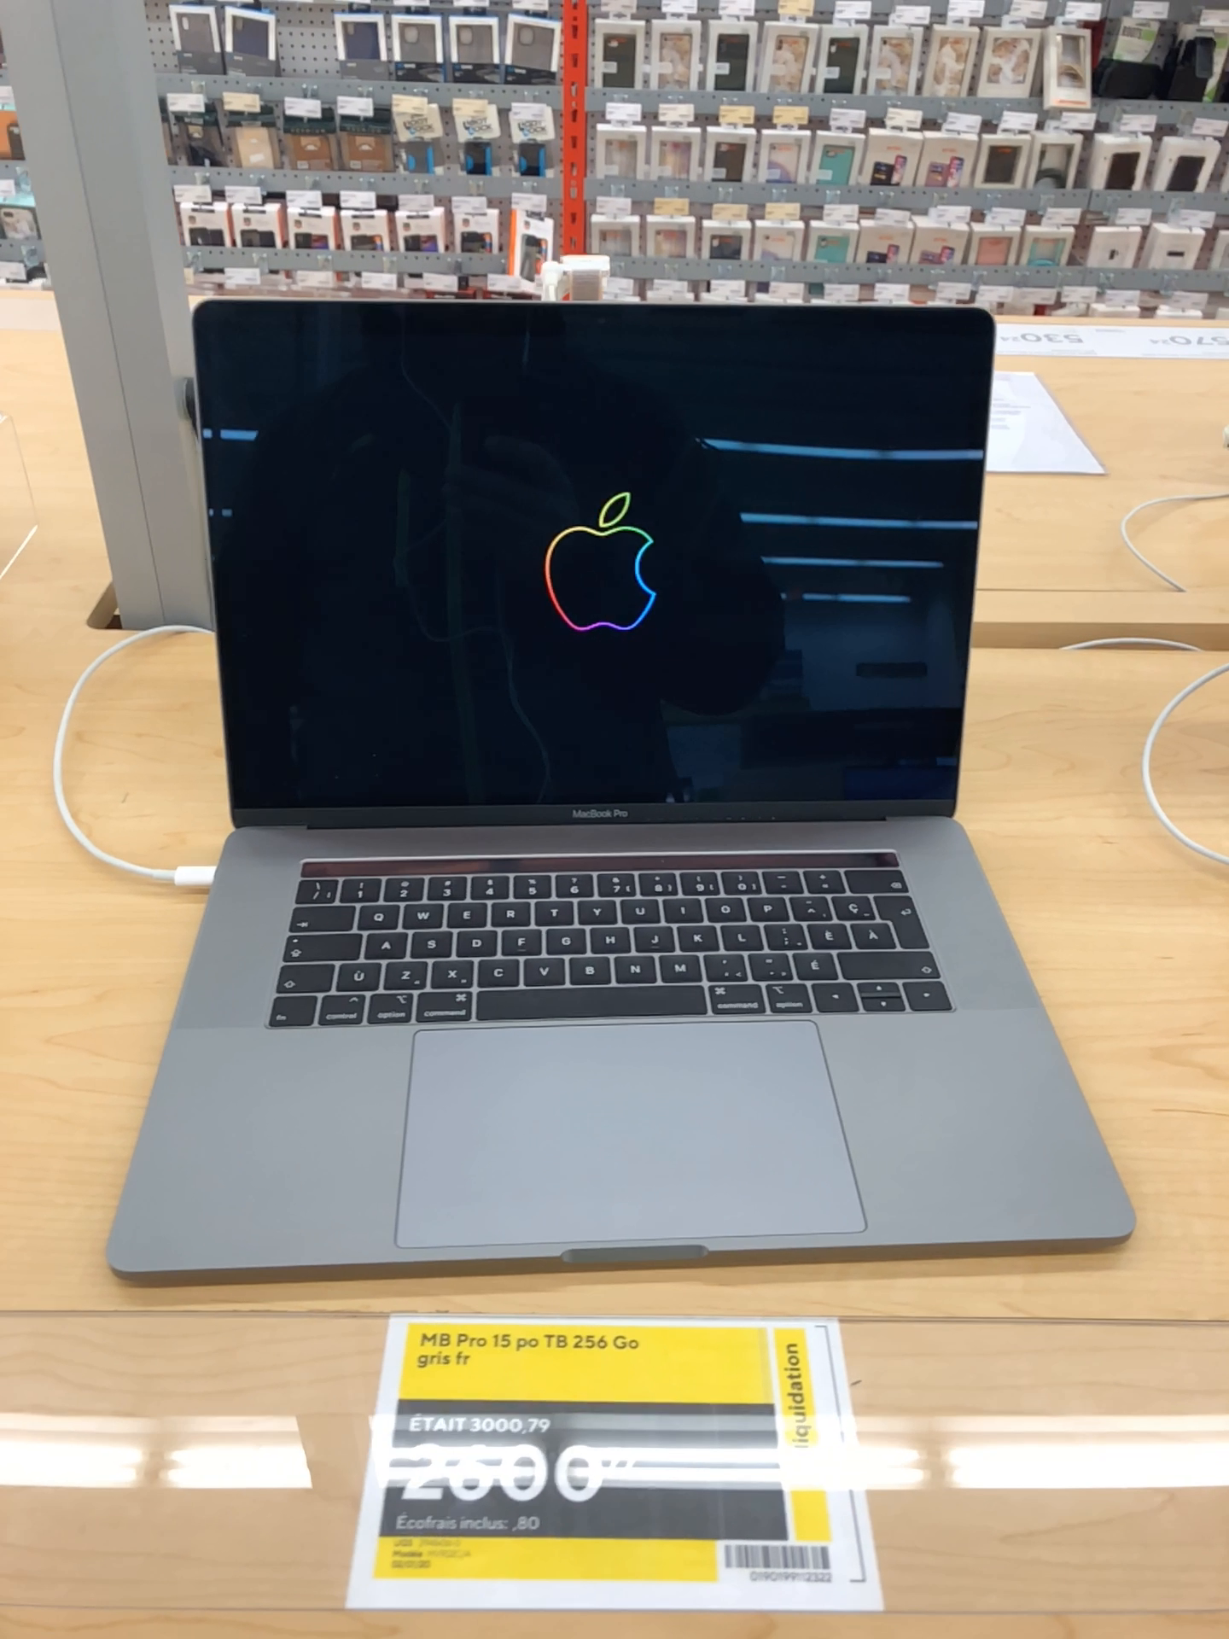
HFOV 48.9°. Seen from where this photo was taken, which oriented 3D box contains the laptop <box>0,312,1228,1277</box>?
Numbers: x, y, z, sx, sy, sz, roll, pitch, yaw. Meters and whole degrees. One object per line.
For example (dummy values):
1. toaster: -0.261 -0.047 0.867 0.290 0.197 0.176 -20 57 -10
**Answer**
1. laptop: 0.003 -0.034 0.501 0.329 0.212 0.299 -1 37 -5
